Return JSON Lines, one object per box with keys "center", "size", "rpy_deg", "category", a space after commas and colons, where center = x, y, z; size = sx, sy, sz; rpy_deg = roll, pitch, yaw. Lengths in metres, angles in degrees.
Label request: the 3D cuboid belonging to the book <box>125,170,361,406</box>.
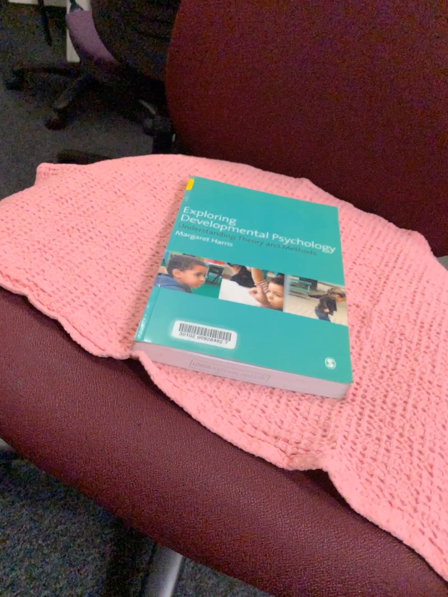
{"center": [0.027, -0.029, 0.437], "size": [0.175, 0.030, 0.247], "rpy_deg": [12, 44, -2], "category": "book"}
